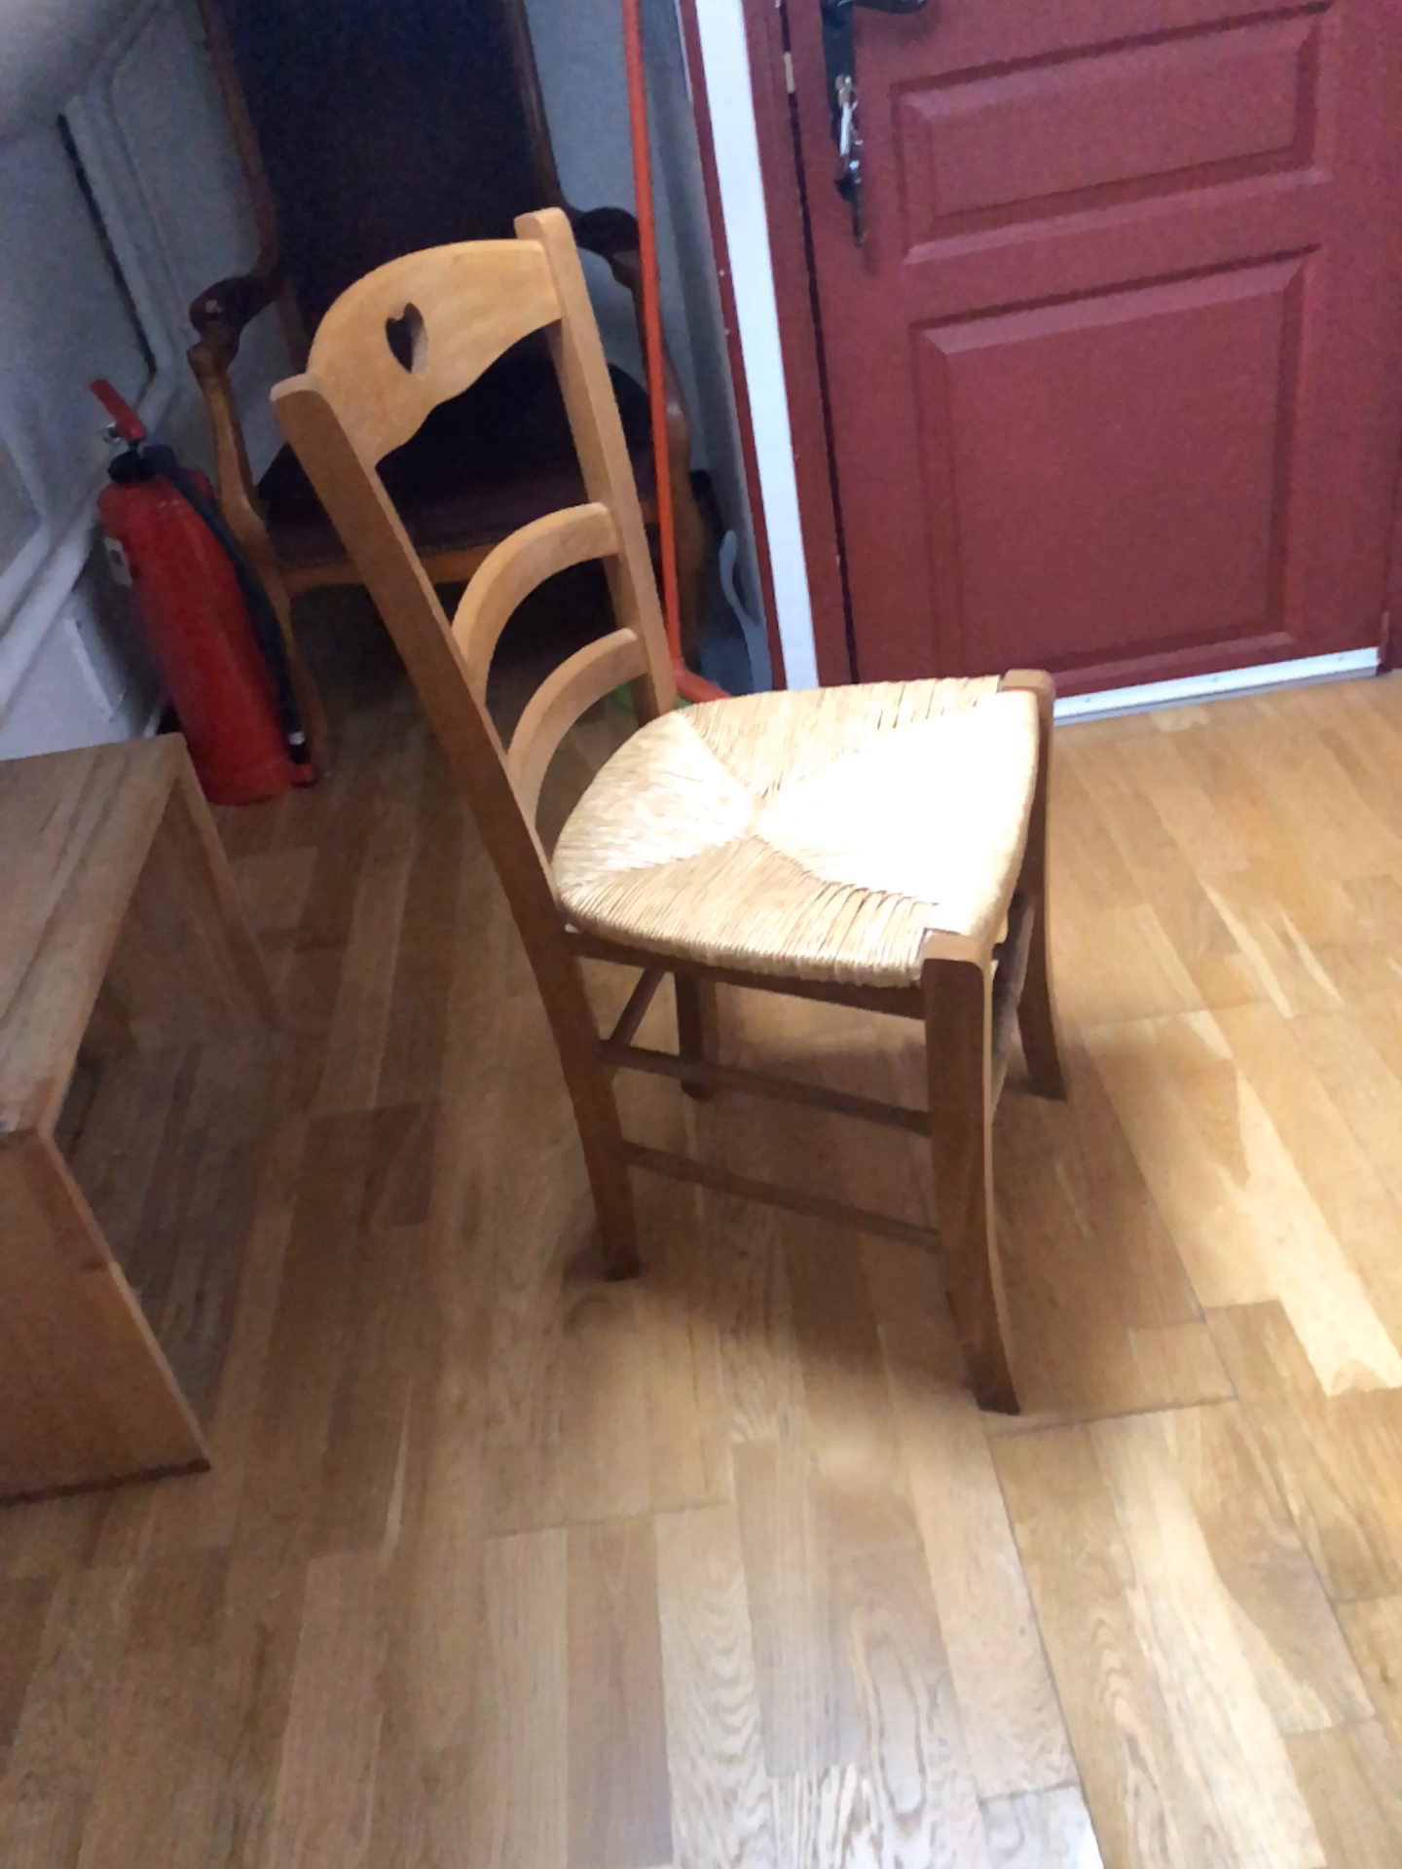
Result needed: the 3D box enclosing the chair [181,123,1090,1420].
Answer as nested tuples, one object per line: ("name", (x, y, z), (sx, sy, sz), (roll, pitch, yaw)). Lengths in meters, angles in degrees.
("chair", (0.050, -0.103, 1.155), (0.433, 0.793, 0.461), (2, 37, 18))
